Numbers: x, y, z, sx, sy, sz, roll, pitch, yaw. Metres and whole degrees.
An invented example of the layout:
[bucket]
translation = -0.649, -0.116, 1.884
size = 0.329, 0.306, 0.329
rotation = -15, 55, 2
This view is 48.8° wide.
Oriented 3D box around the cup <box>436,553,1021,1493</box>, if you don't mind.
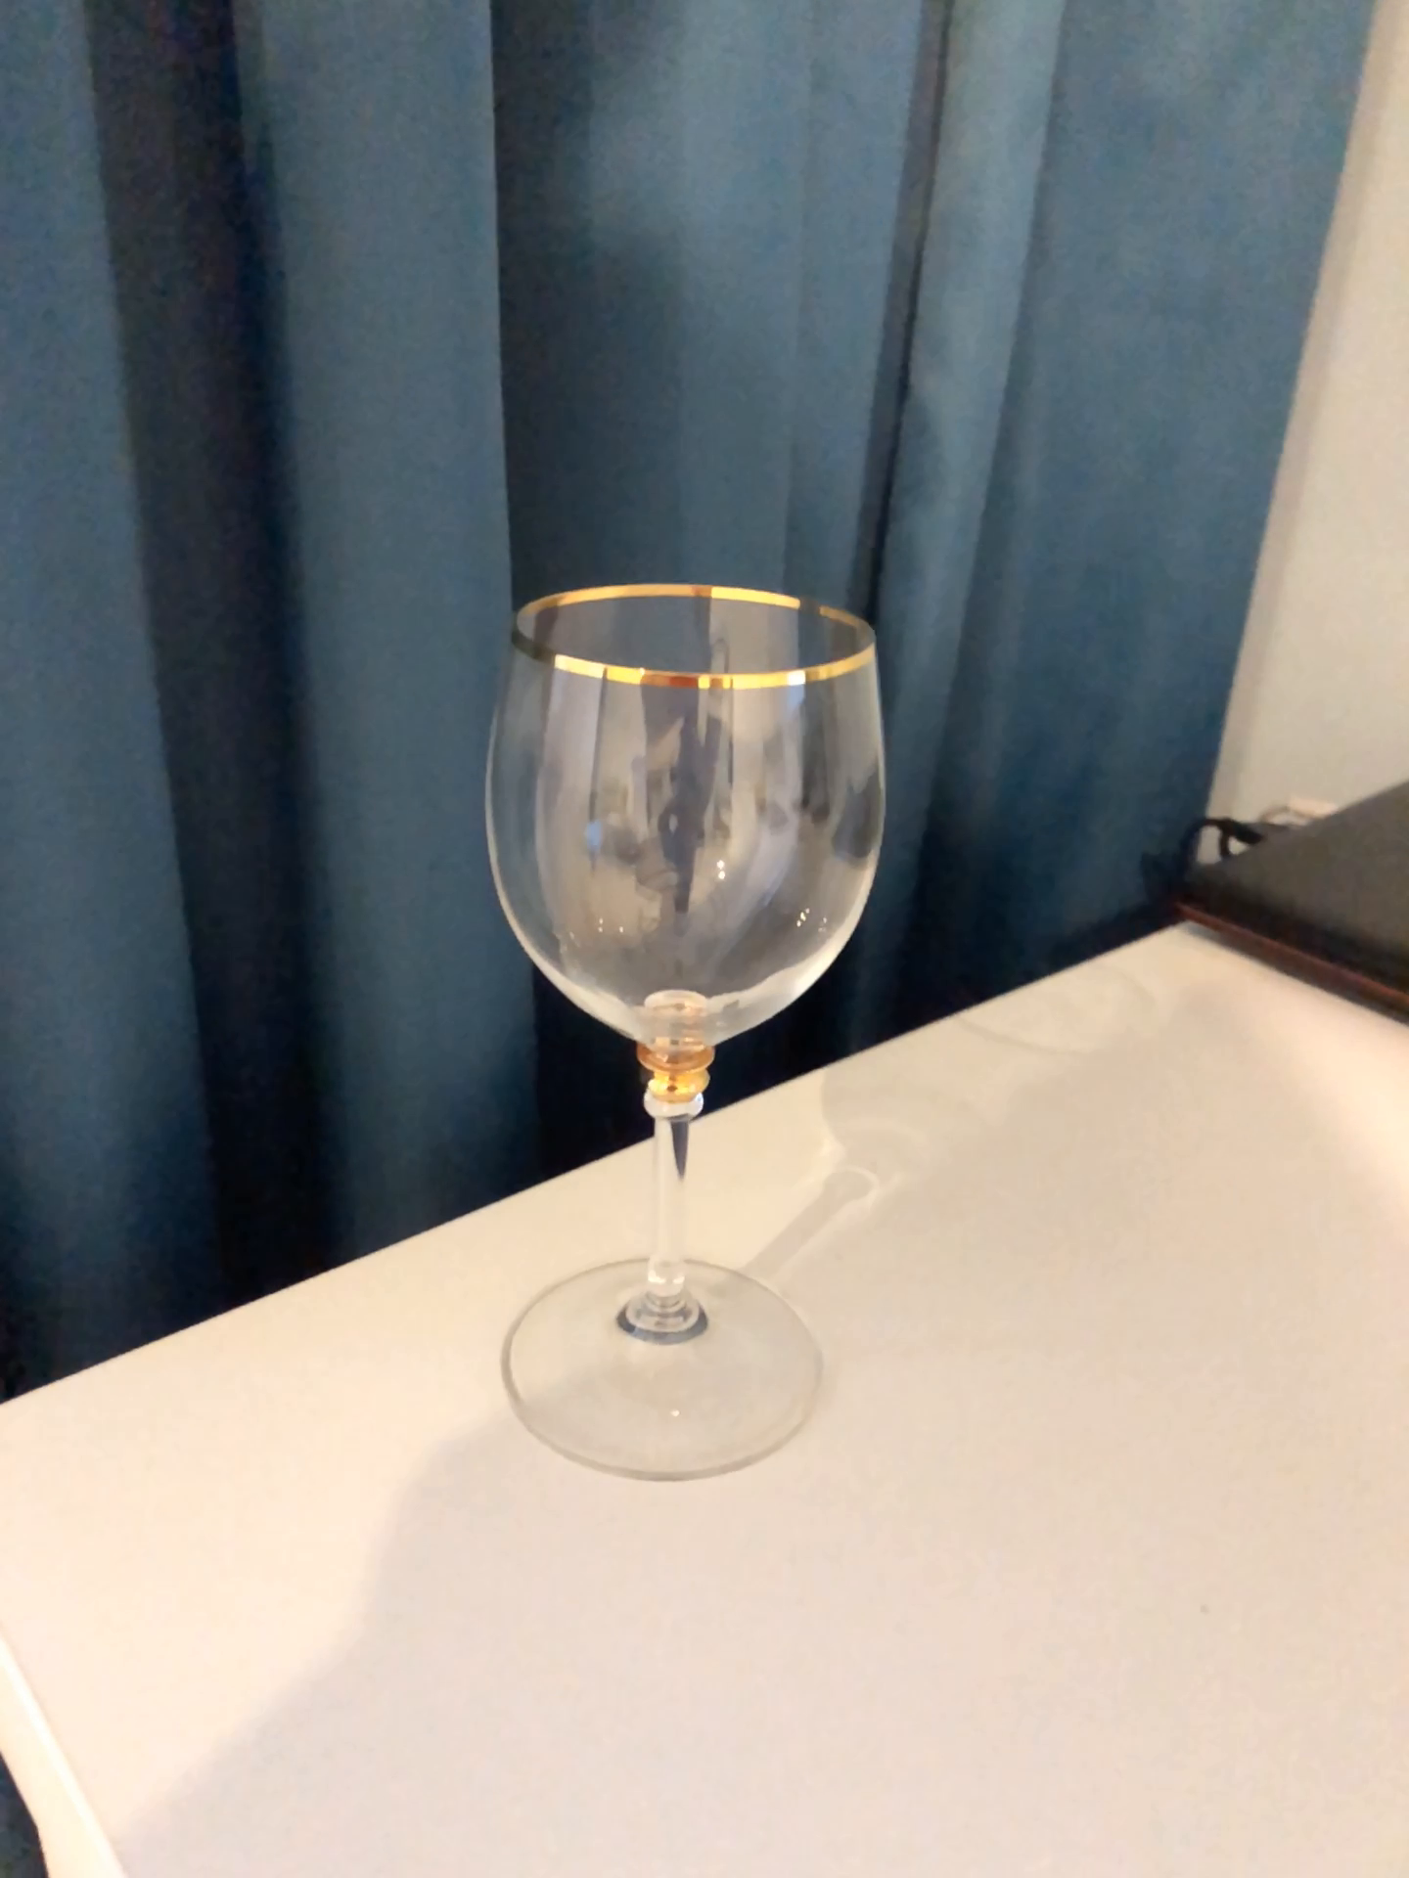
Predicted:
[cup]
translation = -0.002, 0.015, 0.345
size = 0.100, 0.179, 0.101
rotation = 2, 23, -1
